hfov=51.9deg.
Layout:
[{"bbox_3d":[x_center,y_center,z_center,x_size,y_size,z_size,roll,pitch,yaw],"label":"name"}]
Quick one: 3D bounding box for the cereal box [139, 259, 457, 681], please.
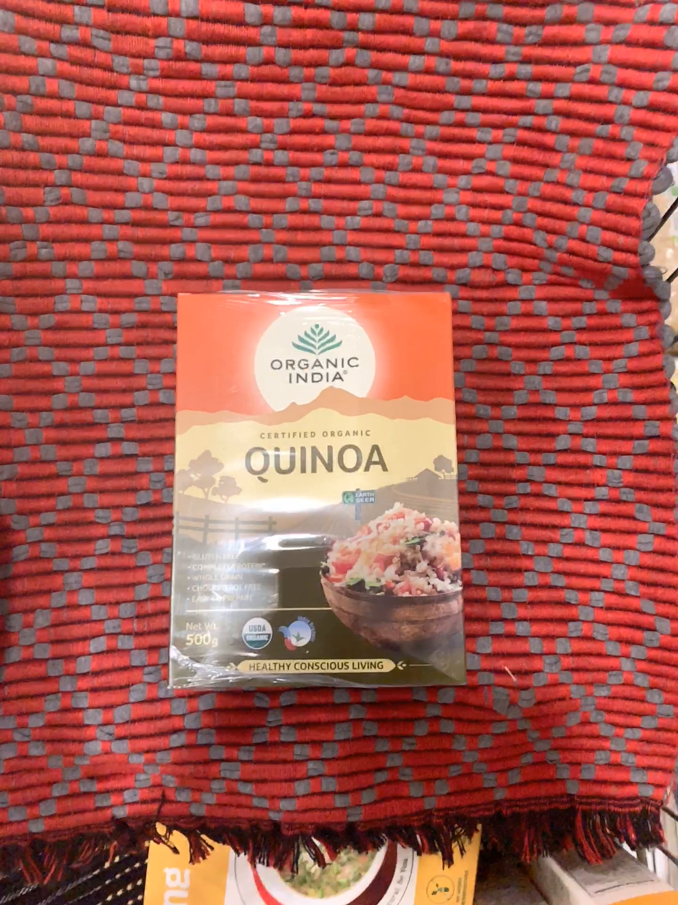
[{"bbox_3d":[-0.018,0.008,0.331,0.130,0.070,0.180,0,82,-1],"label":"cereal box"}]
